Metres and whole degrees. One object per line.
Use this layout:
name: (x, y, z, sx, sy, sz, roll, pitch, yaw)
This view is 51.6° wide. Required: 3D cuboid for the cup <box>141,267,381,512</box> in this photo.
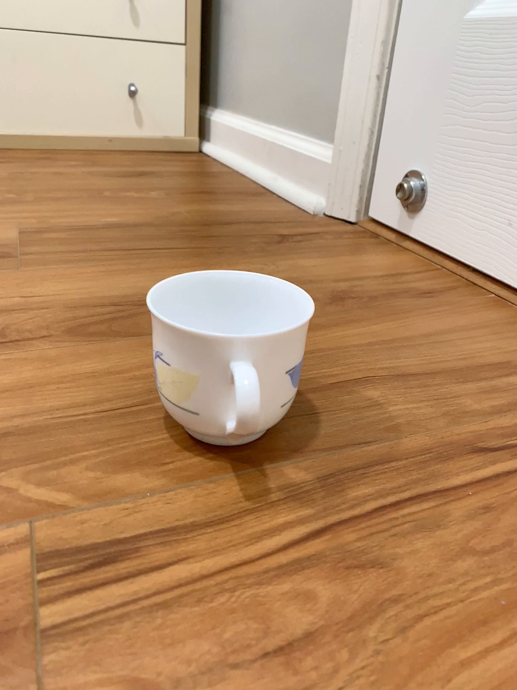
cup: (-0.008, 0.012, 0.255, 0.083, 0.063, 0.104, -4, 29, -16)
